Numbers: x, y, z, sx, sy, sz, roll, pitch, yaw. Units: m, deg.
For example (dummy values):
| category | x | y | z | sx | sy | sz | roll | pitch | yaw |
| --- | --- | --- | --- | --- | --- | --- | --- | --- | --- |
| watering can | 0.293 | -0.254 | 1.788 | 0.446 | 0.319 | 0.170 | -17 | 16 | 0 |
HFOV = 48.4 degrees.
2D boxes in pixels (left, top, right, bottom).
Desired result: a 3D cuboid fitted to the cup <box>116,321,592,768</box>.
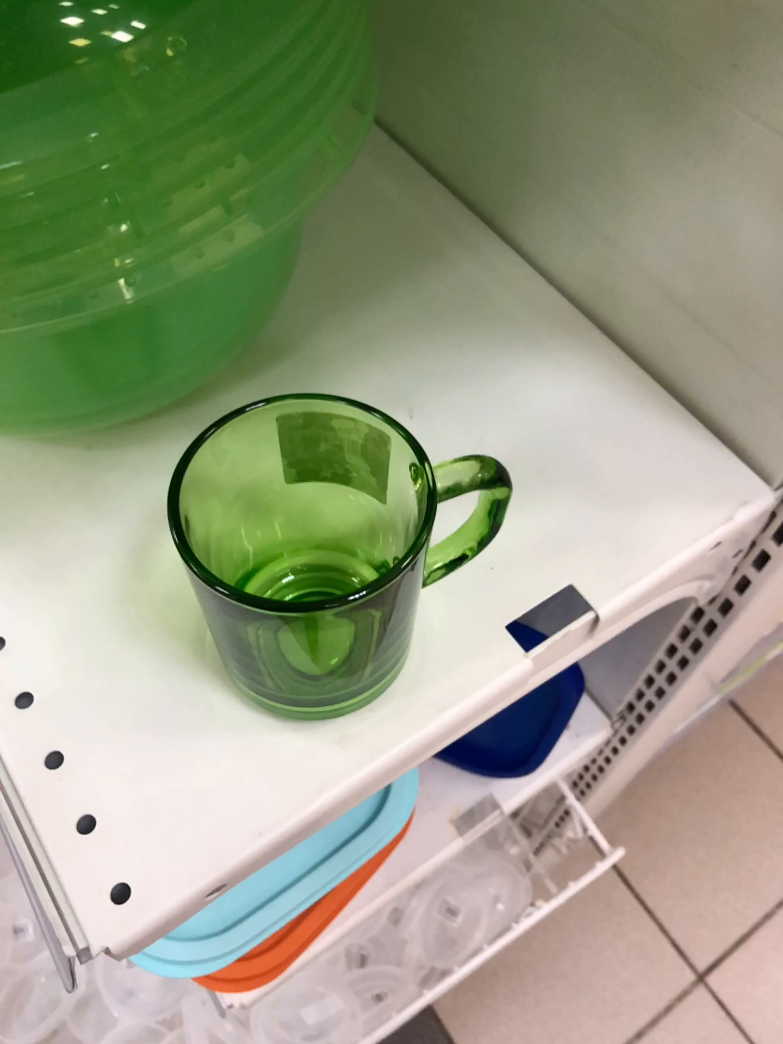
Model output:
| category | x | y | z | sx | sy | sz | roll | pitch | yaw |
| --- | --- | --- | --- | --- | --- | --- | --- | --- | --- |
| cup | -0.012 | 0.009 | 0.274 | 0.110 | 0.086 | 0.073 | -22 | 61 | -14 |
